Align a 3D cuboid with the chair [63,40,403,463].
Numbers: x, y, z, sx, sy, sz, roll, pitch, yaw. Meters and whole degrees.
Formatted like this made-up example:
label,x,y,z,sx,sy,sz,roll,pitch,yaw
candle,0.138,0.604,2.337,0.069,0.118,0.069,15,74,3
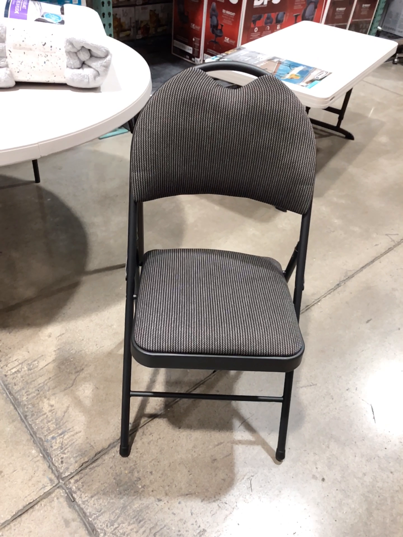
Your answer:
label,x,y,z,sx,sy,sz,roll,pitch,yaw
chair,0.030,-0.002,1.108,0.510,0.857,0.562,5,41,-3
